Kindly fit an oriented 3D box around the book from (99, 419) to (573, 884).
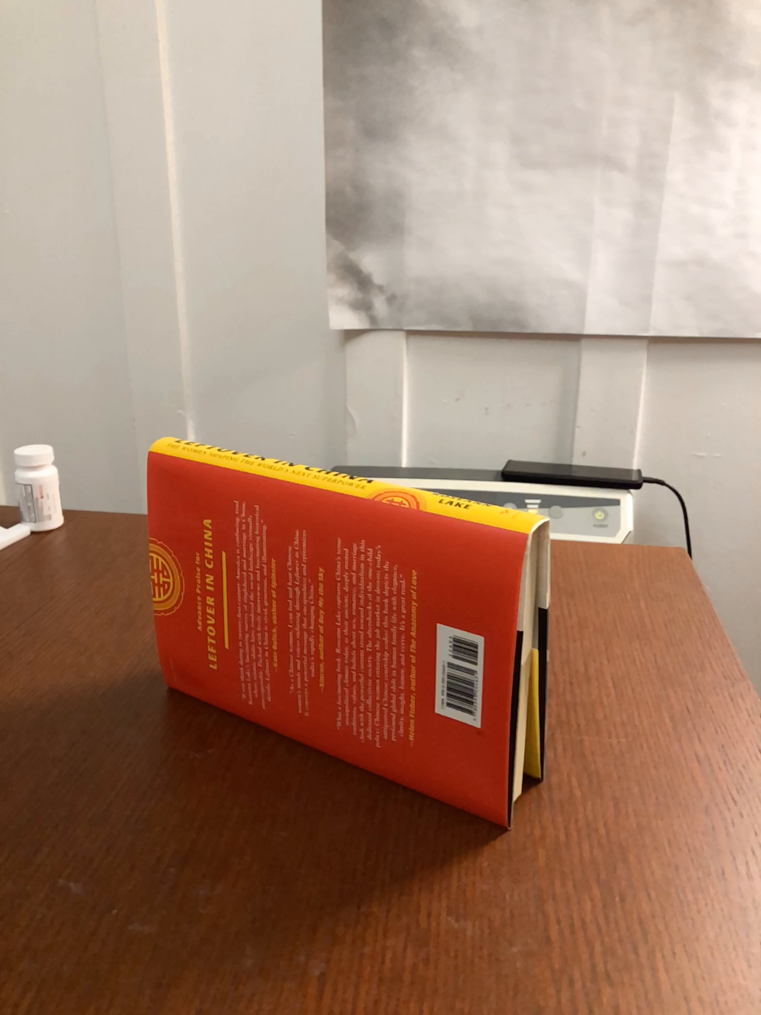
[{"bbox_3d":[-0.036,0.062,0.464,0.260,0.179,0.060,13,22,31],"label":"book"}]
